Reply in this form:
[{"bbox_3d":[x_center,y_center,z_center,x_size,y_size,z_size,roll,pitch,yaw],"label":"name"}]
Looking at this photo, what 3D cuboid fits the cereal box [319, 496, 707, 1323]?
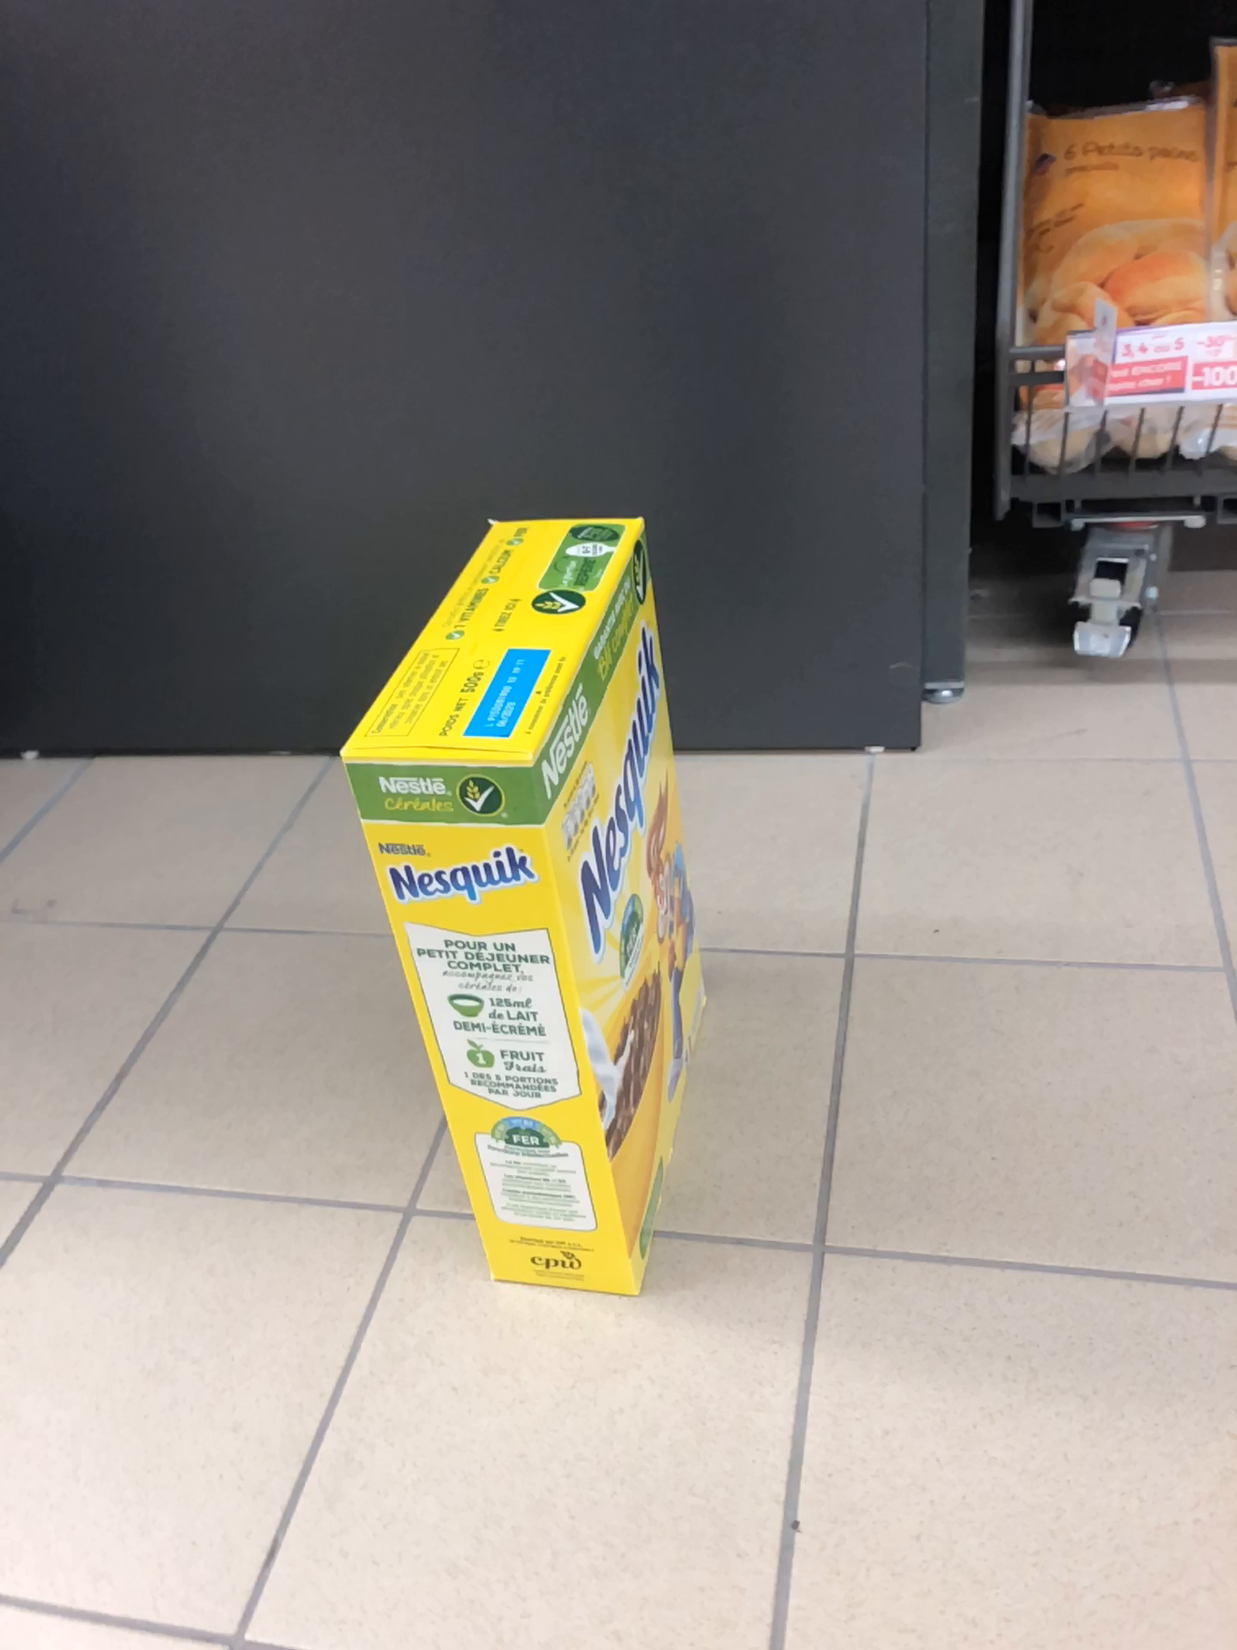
[{"bbox_3d":[-0.024,0.038,0.598,0.070,0.298,0.201,2,37,14],"label":"cereal box"}]
